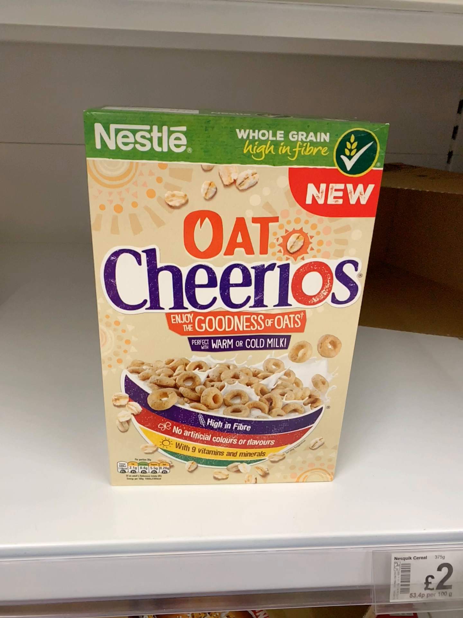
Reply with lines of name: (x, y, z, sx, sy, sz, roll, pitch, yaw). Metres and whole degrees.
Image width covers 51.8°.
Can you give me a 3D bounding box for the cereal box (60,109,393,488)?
cereal box: (-0.008, 0.003, 0.376, 0.200, 0.288, 0.071, 0, 24, -4)
